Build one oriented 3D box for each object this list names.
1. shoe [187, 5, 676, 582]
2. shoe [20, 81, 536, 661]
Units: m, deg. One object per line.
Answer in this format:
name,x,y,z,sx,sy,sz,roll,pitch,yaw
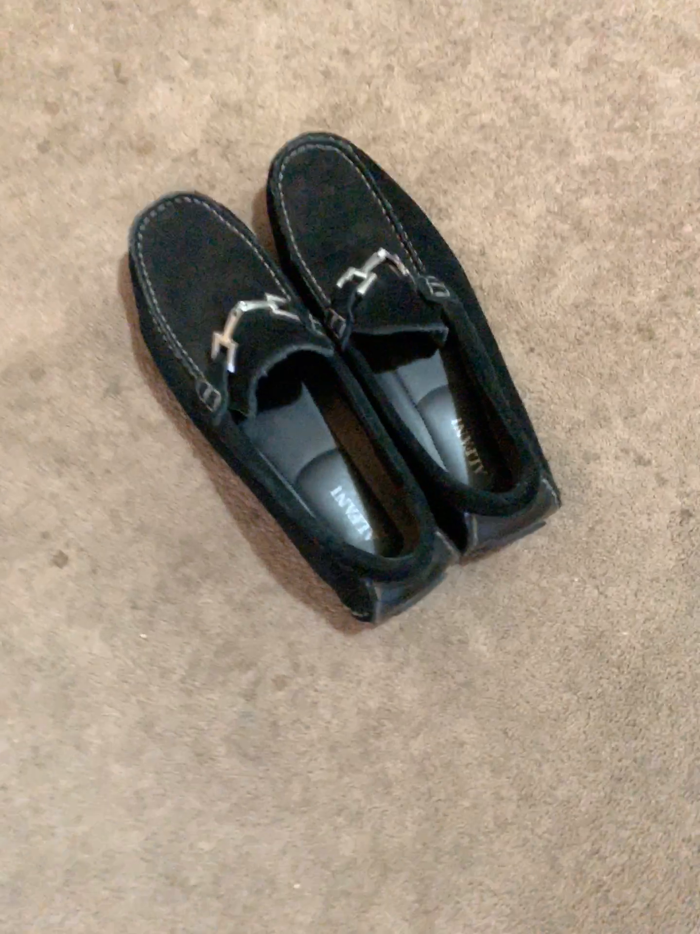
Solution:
shoe,0.032,-0.093,0.411,0.100,0.100,0.300,-31,80,-11
shoe,-0.044,-0.049,0.402,0.100,0.100,0.300,-35,81,-11
